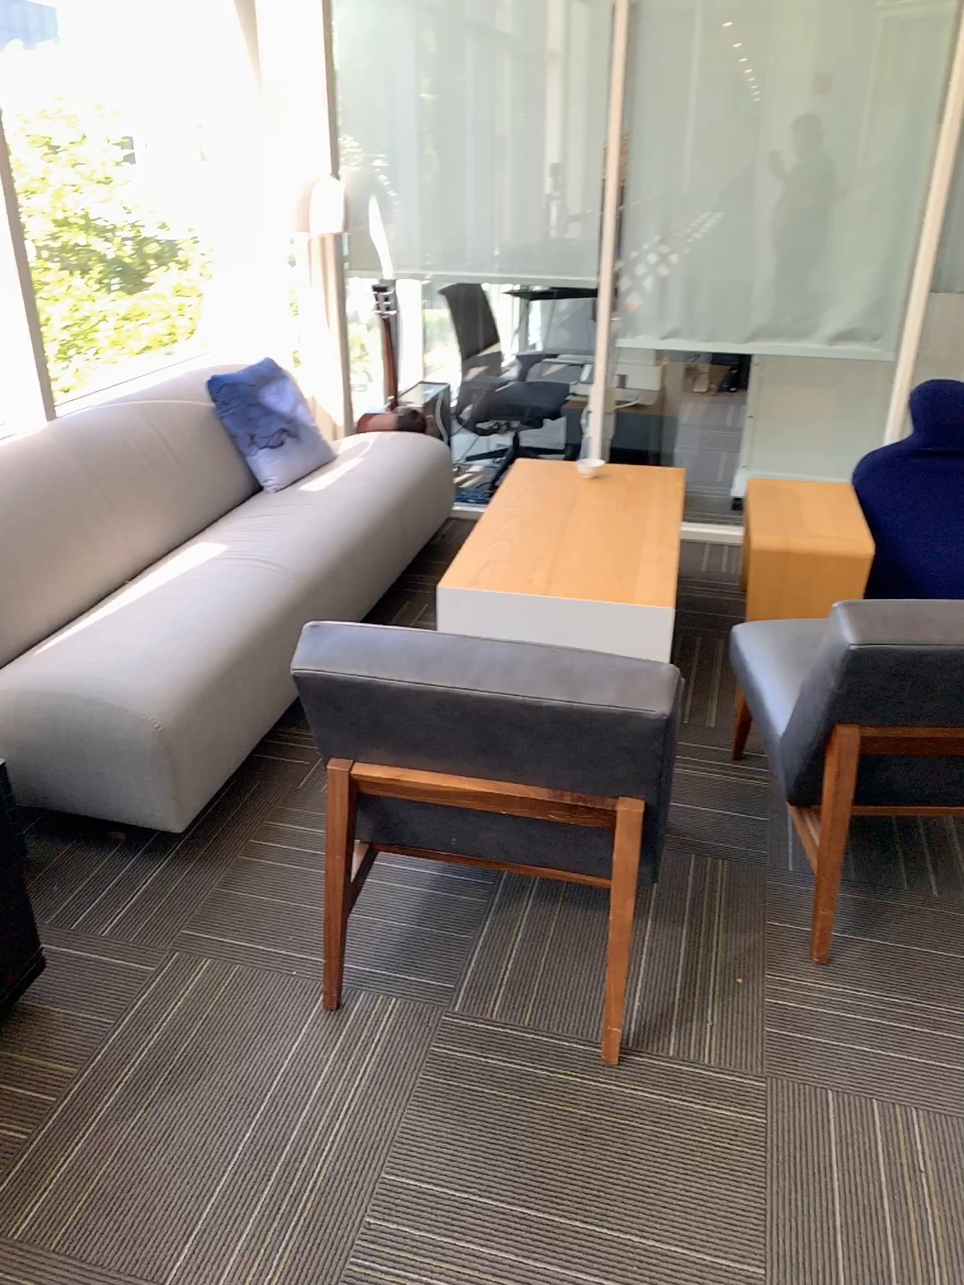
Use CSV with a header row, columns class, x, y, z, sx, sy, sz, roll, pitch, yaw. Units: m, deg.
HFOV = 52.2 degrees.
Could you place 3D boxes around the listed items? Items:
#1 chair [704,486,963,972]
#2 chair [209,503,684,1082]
class,x,y,z,sx,sy,sz,roll,pitch,yaw
chair,0.976,0.145,2.242,0.680,0.766,0.855,0,26,-1
chair,0.002,0.235,2.047,0.740,0.766,0.854,5,27,9
